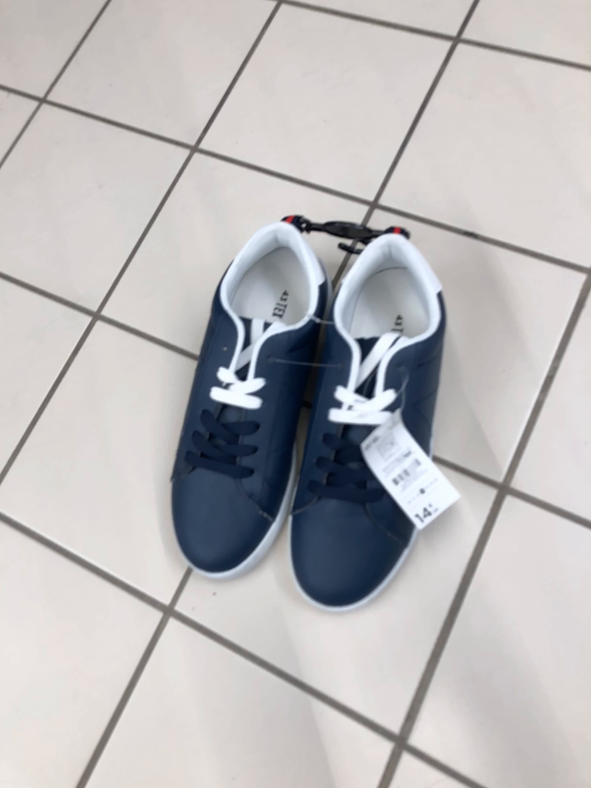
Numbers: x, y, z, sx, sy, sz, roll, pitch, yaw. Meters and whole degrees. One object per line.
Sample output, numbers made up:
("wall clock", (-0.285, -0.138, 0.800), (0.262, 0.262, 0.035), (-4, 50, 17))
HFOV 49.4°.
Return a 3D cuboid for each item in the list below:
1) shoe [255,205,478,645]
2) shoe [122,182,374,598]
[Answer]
("shoe", (0.061, 0.018, 0.473), (0.100, 0.100, 0.290), (8, 74, 13))
("shoe", (-0.022, -0.004, 0.493), (0.100, 0.100, 0.290), (10, 74, 14))
